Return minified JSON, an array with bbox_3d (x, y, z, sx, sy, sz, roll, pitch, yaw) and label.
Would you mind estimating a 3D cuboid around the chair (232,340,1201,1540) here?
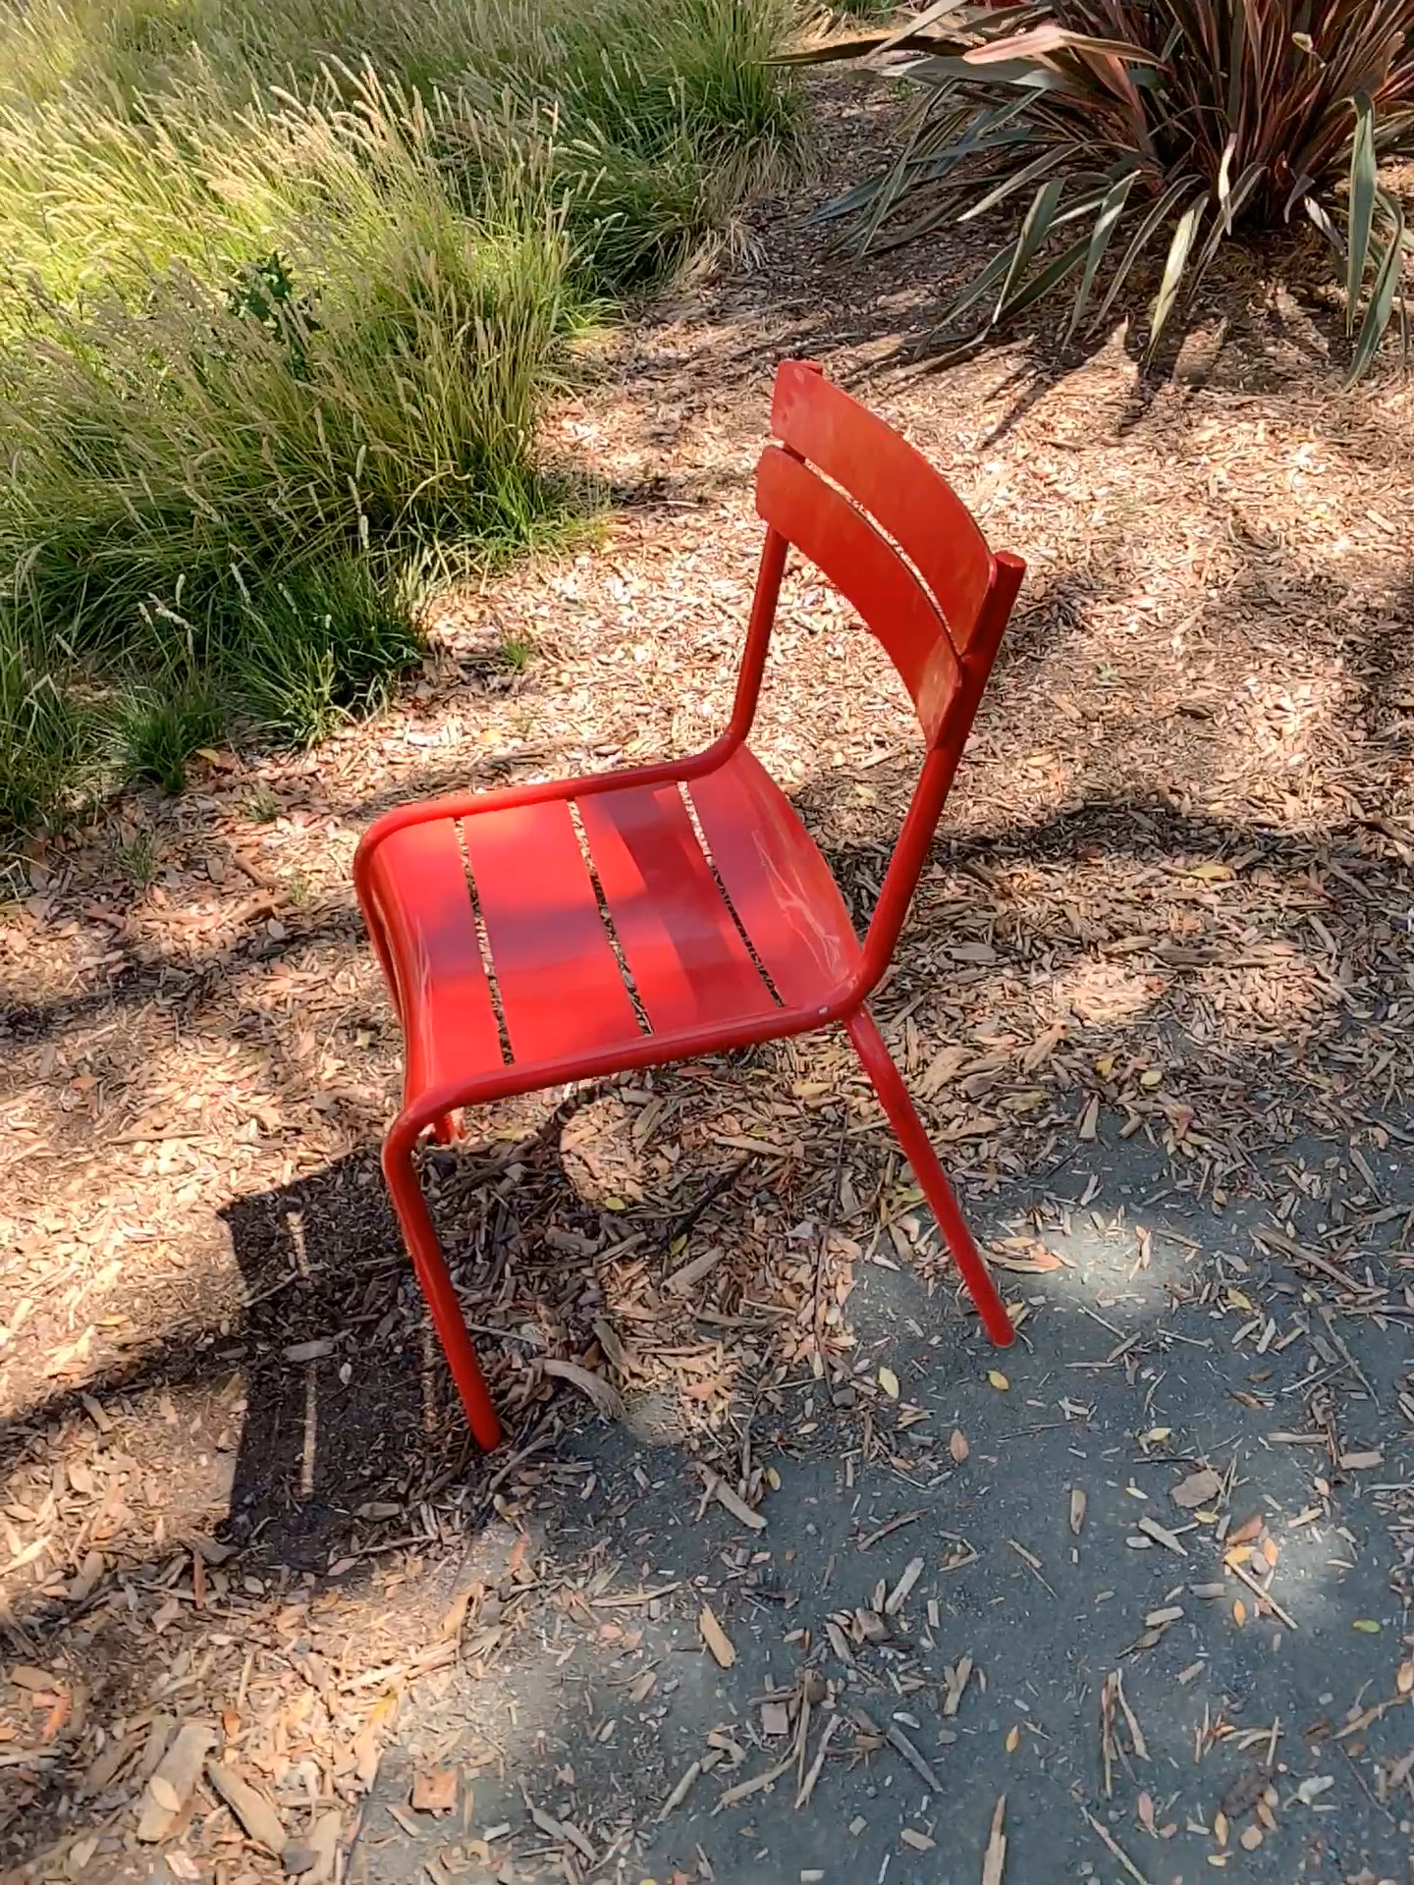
[{"bbox_3d":[-0.051,-0.029,1.292,0.570,0.785,0.614,-9,37,-12],"label":"chair"}]
